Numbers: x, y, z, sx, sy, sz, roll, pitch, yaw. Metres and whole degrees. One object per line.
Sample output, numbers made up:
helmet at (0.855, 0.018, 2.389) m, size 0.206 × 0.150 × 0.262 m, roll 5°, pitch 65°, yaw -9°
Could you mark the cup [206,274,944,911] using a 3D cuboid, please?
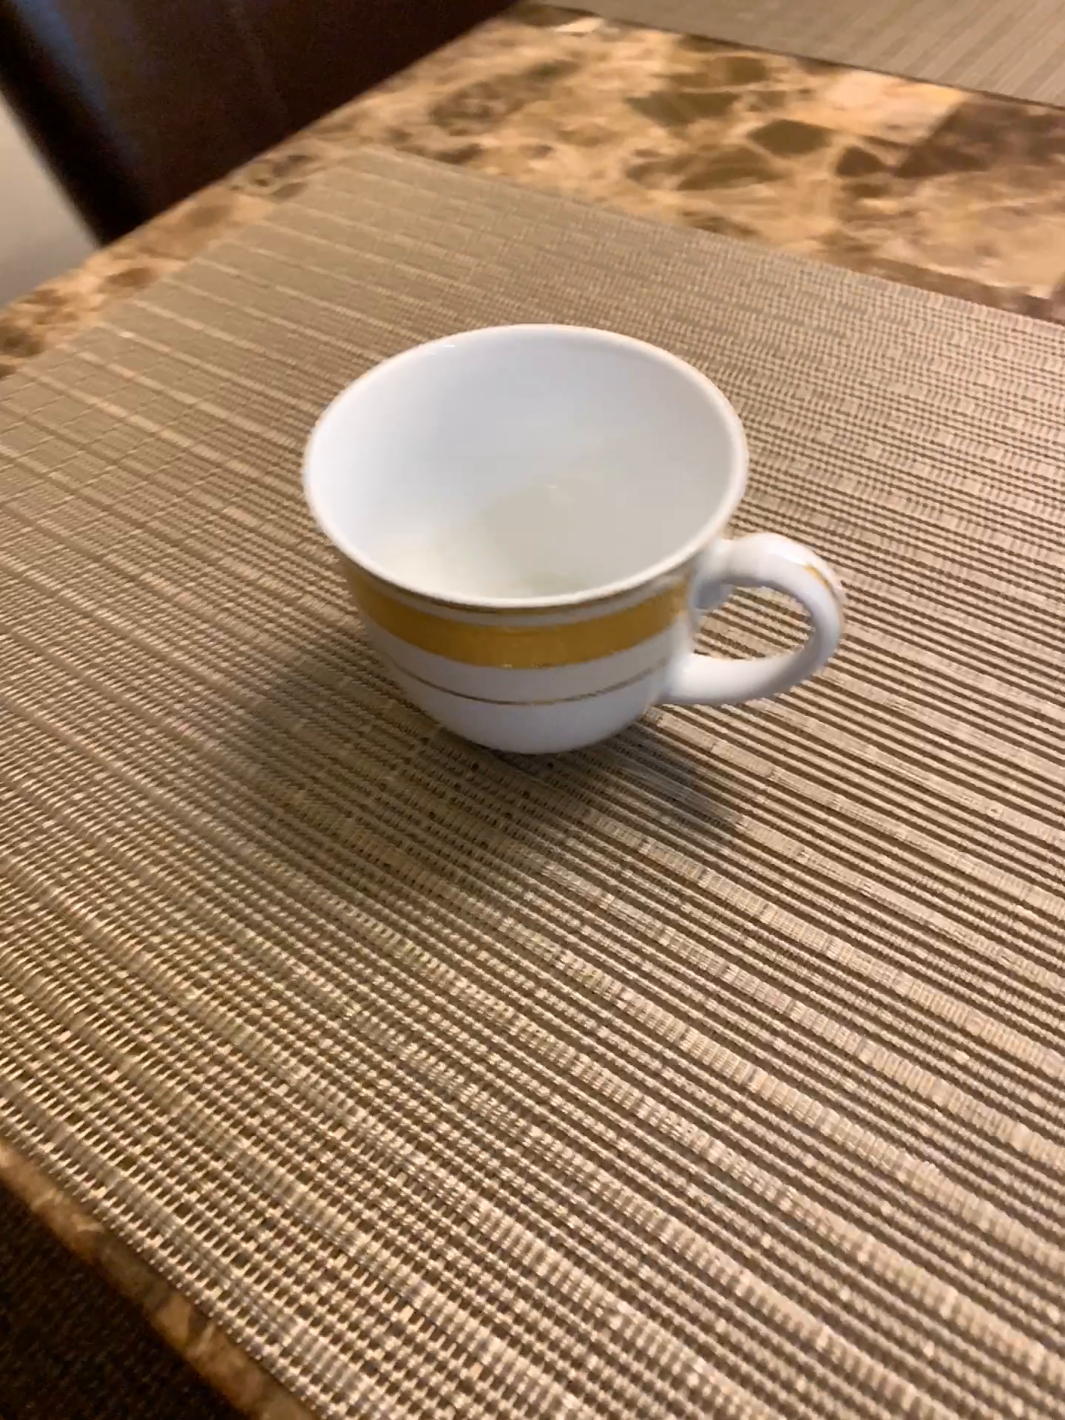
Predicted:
cup at (0.010, -0.029, 0.215) m, size 0.103 × 0.055 × 0.083 m, roll 23°, pitch 56°, yaw 21°
